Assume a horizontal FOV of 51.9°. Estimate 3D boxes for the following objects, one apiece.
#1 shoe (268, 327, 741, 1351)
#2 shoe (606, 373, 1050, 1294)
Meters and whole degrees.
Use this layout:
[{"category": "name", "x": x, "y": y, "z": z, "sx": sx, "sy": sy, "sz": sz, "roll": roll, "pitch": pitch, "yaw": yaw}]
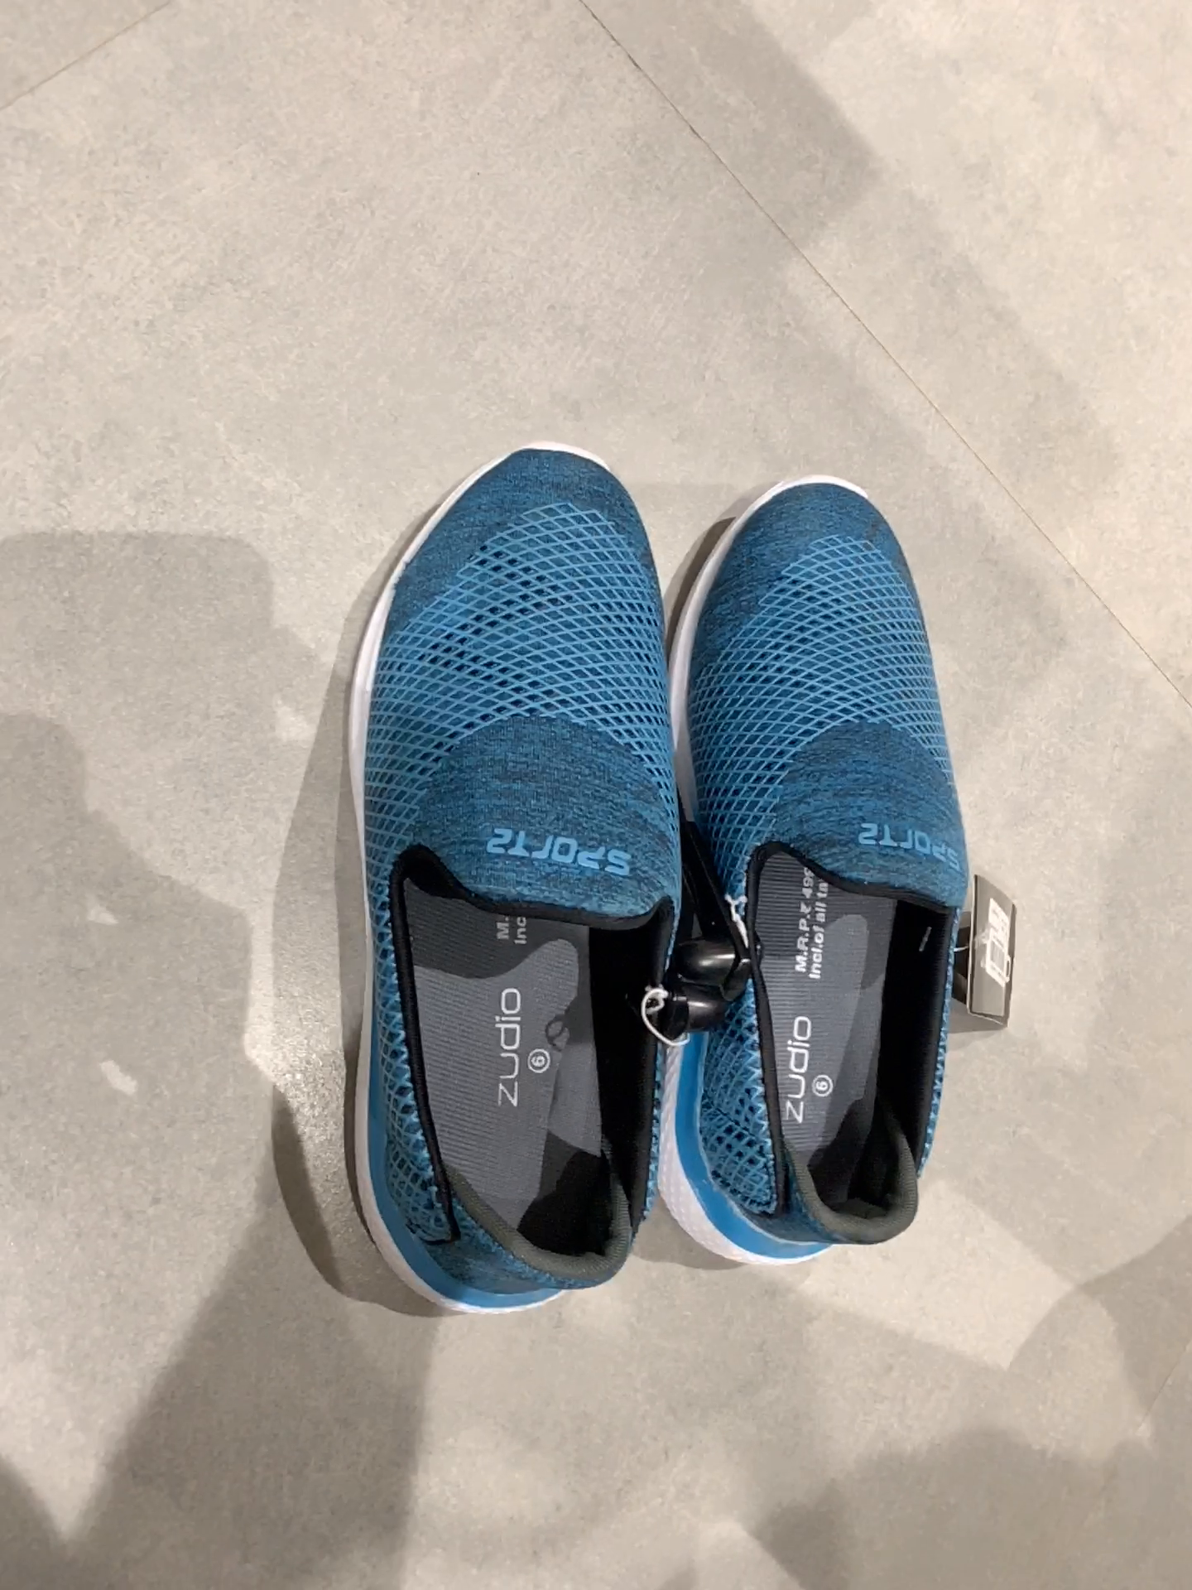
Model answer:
[{"category": "shoe", "x": -0.027, "y": 0.013, "z": 0.364, "sx": 0.110, "sy": 0.080, "sz": 0.260, "roll": 5, "pitch": 81, "yaw": -19}, {"category": "shoe", "x": 0.072, "y": 0.013, "z": 0.382, "sx": 0.090, "sy": 0.080, "sz": 0.250, "roll": 9, "pitch": 80, "yaw": -18}]
